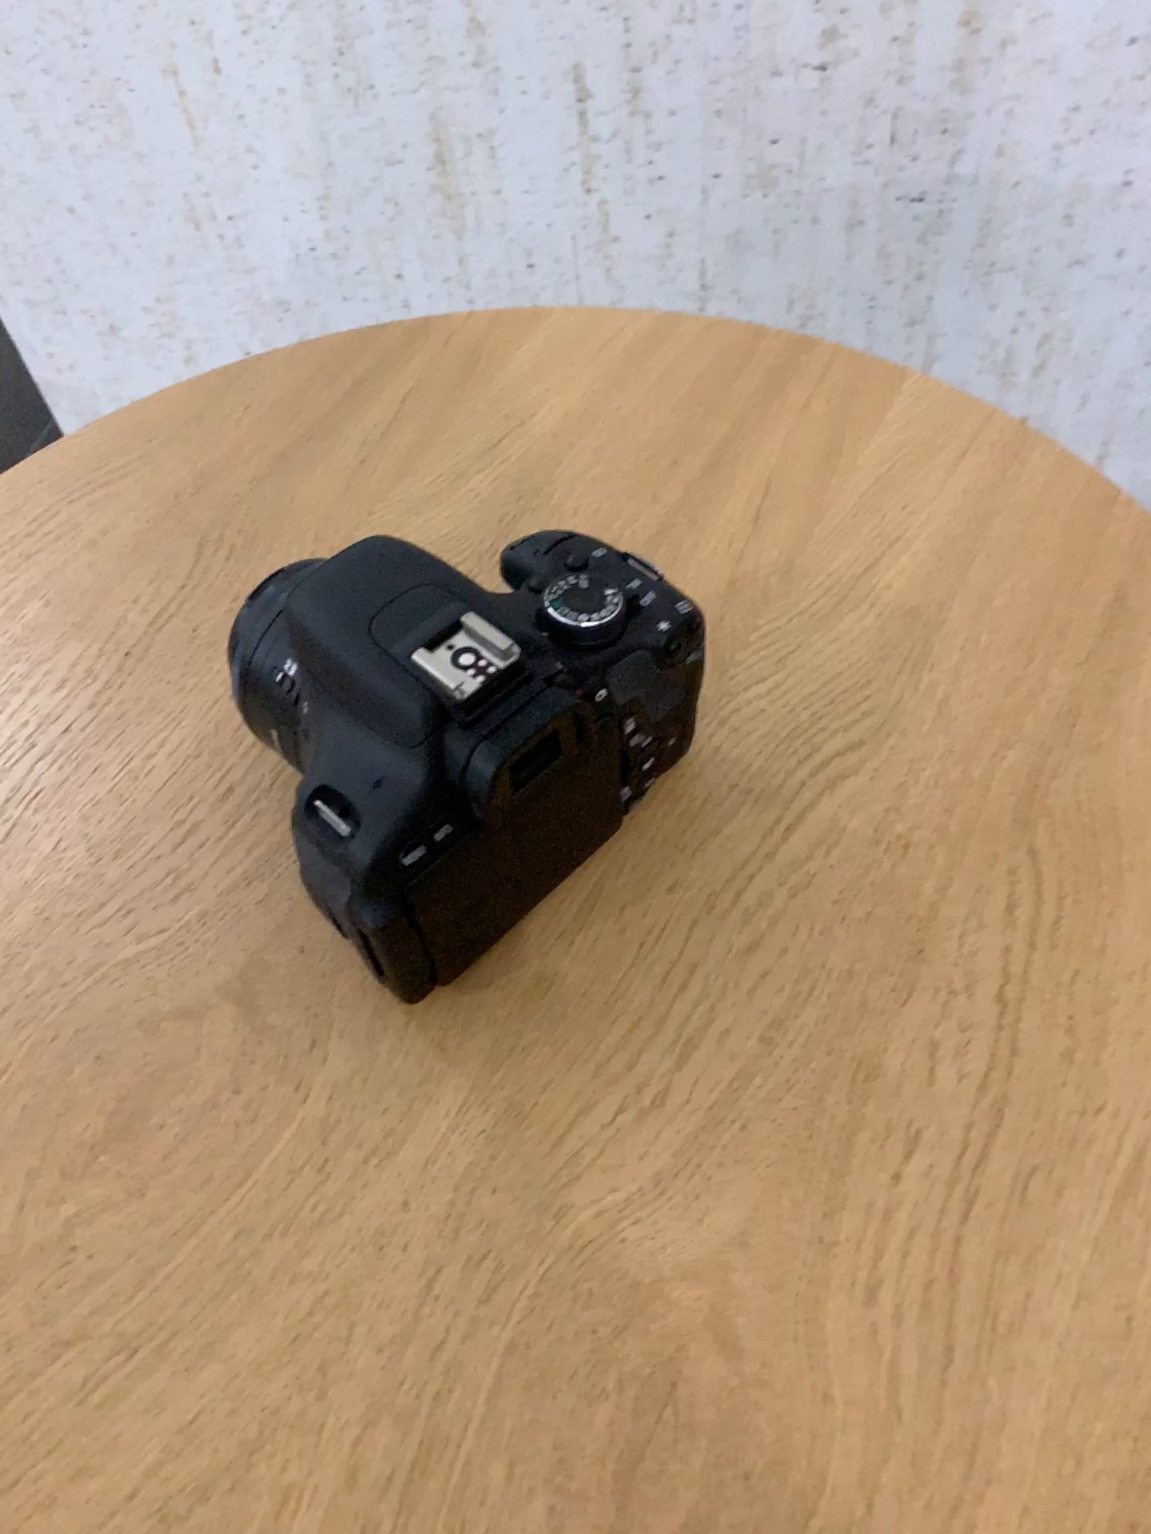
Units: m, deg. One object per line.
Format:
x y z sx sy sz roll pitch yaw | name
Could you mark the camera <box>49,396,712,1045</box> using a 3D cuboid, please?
-0.049 -0.018 0.338 0.126 0.080 0.120 36 65 26 | camera
